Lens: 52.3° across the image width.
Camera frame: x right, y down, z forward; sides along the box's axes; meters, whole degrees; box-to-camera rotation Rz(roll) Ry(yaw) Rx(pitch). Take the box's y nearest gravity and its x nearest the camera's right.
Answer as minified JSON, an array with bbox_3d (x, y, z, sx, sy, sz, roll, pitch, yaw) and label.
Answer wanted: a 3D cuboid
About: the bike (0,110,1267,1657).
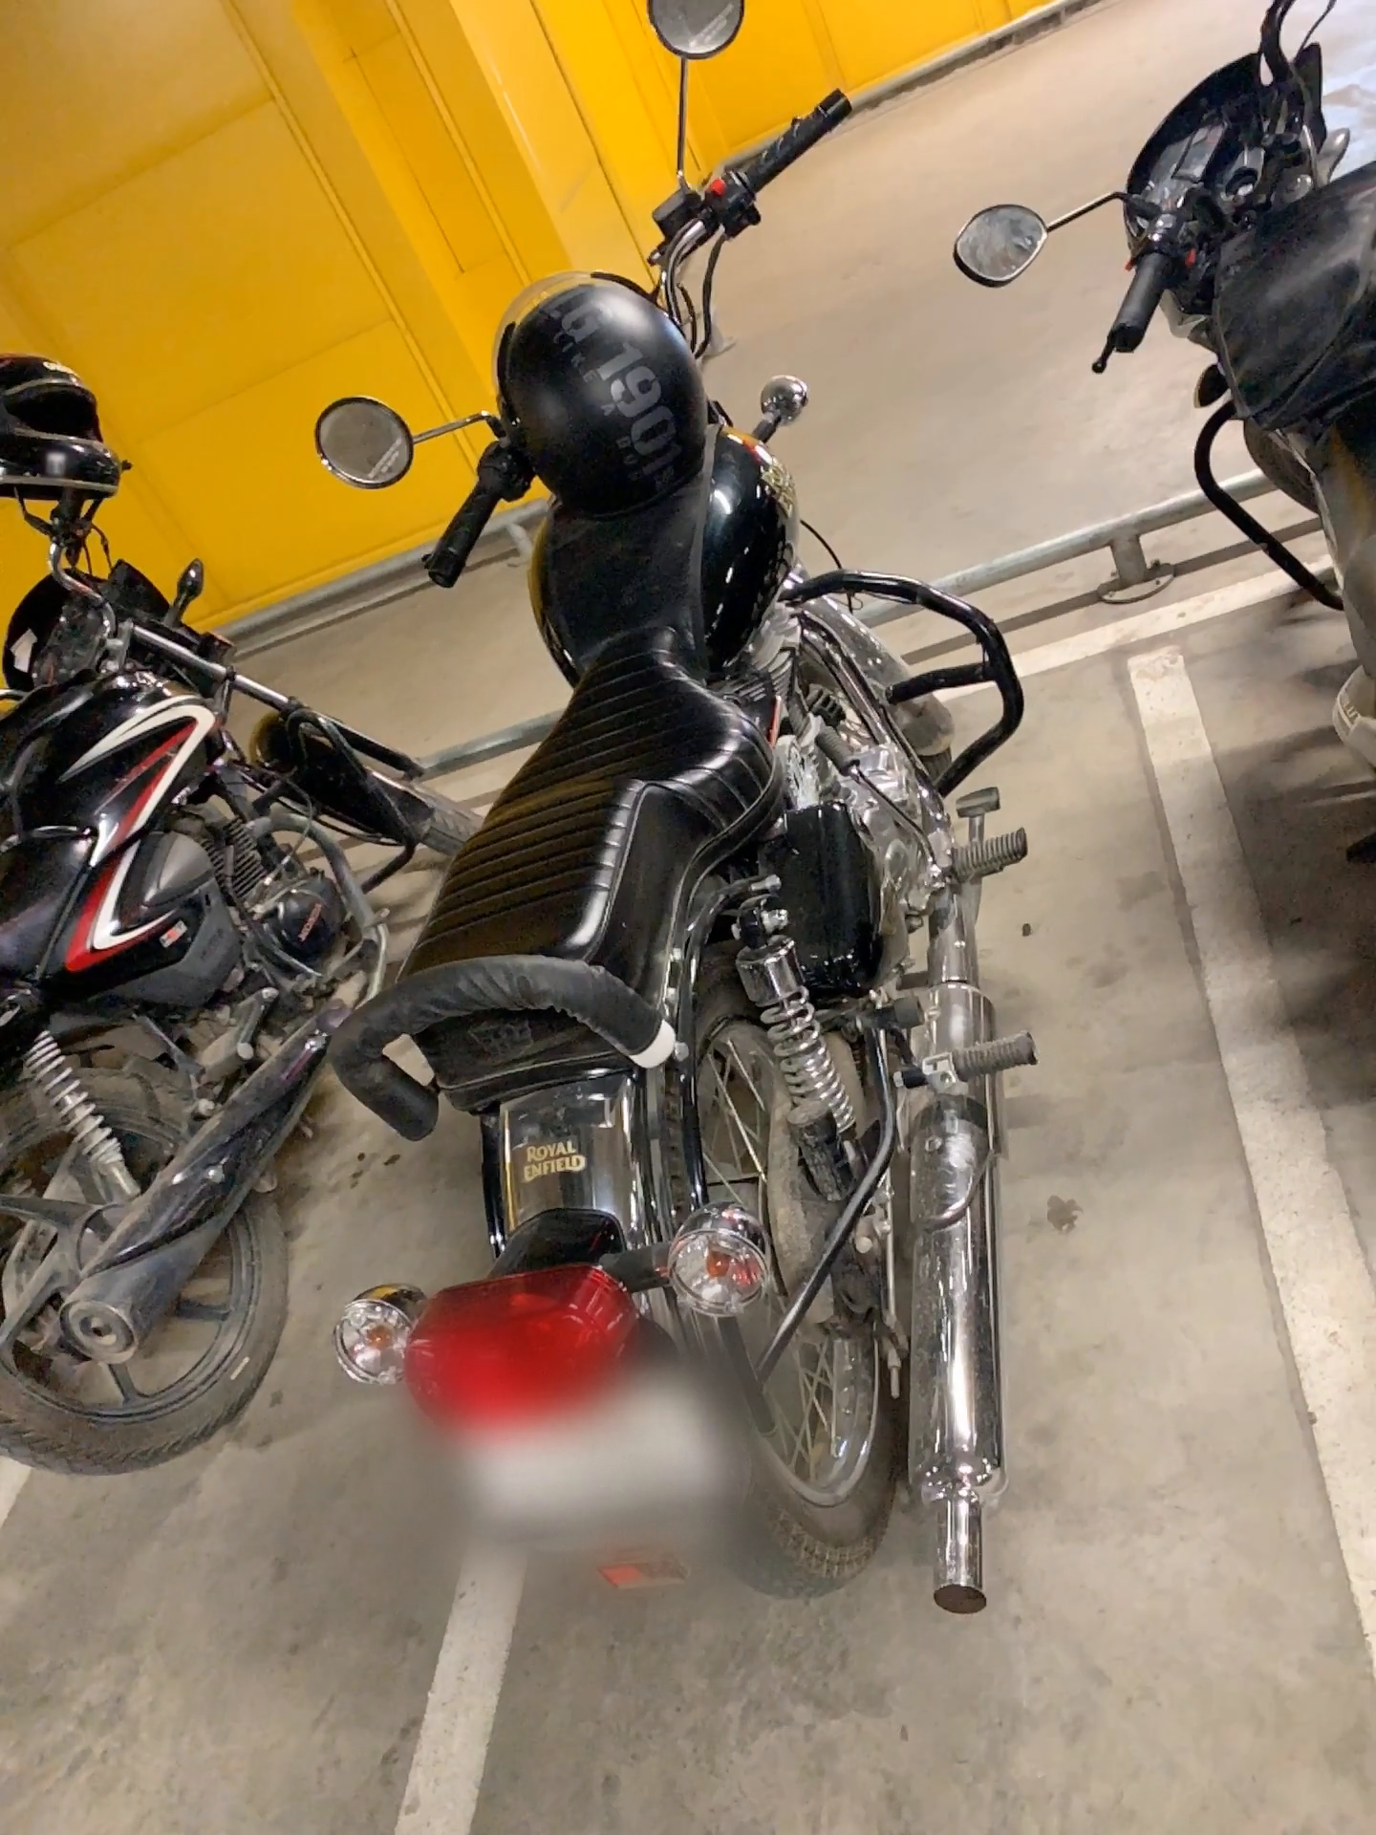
[{"bbox_3d":[-0.088,-0.230,1.819,0.764,1.050,1.833,-20,33,14],"label":"bike"}]

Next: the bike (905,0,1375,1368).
[{"bbox_3d":[0.727,-0.508,1.665,0.599,0.924,1.726,-17,32,18],"label":"bike"}]
